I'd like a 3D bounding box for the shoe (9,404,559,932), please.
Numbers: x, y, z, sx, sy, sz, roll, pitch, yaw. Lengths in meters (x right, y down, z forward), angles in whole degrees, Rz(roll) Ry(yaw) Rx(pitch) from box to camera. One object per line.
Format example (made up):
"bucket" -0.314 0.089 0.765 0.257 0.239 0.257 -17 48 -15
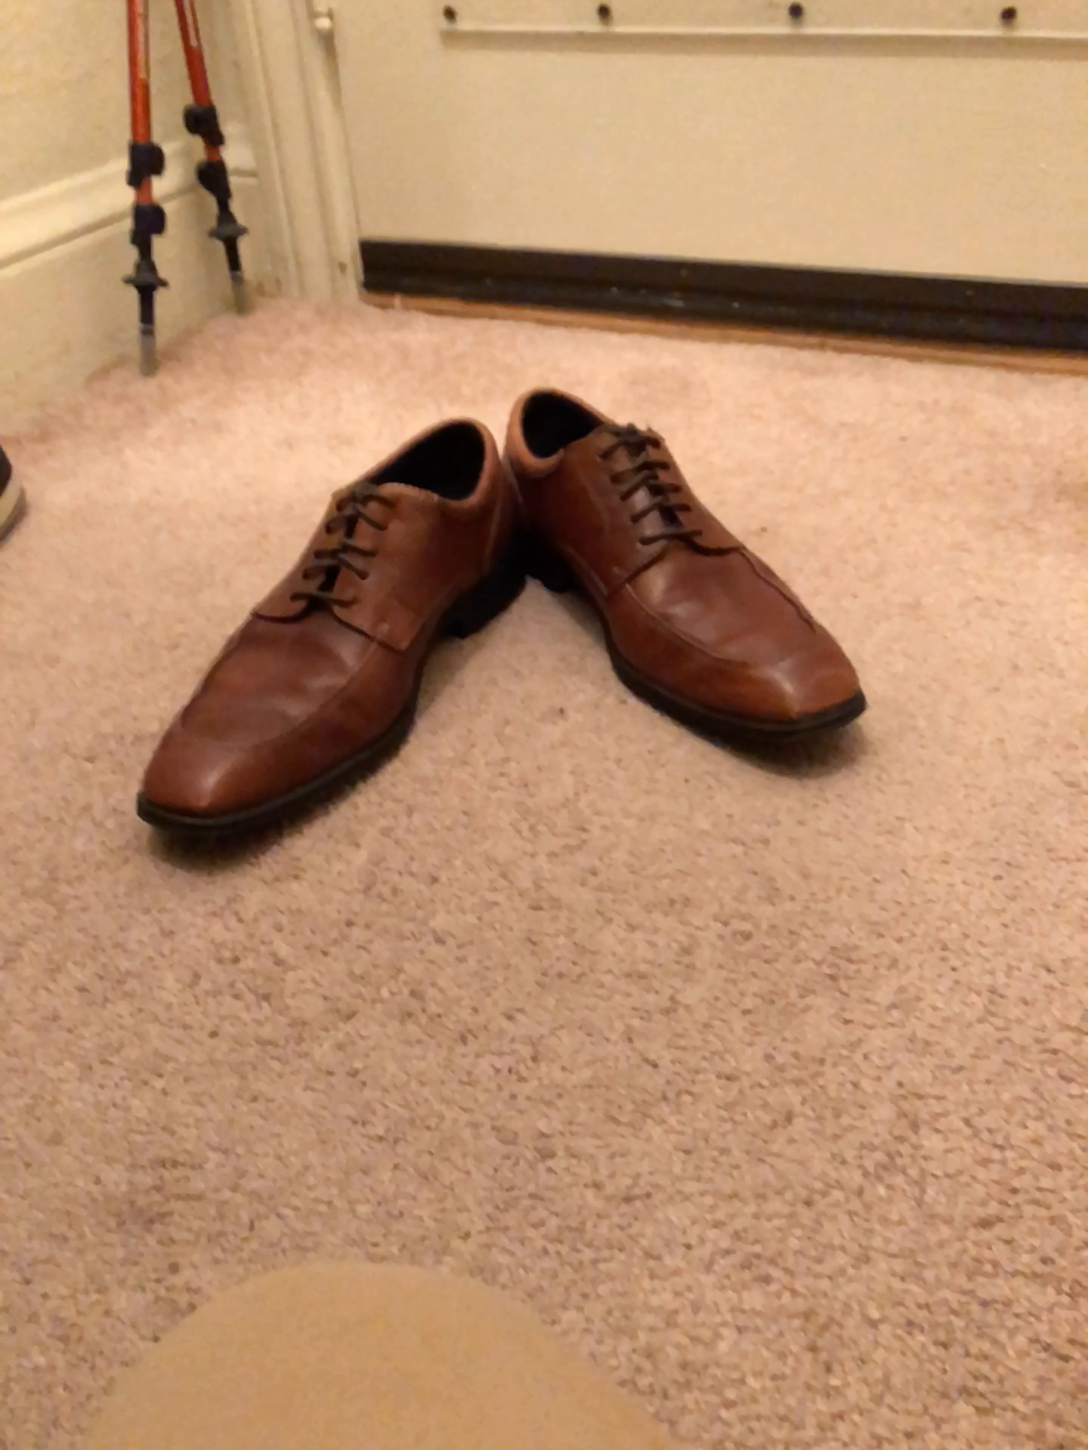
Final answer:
"shoe" -0.112 -0.051 0.645 0.120 0.119 0.302 14 41 22

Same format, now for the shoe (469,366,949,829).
"shoe" 0.071 -0.089 0.663 0.100 0.109 0.301 -19 40 -20
